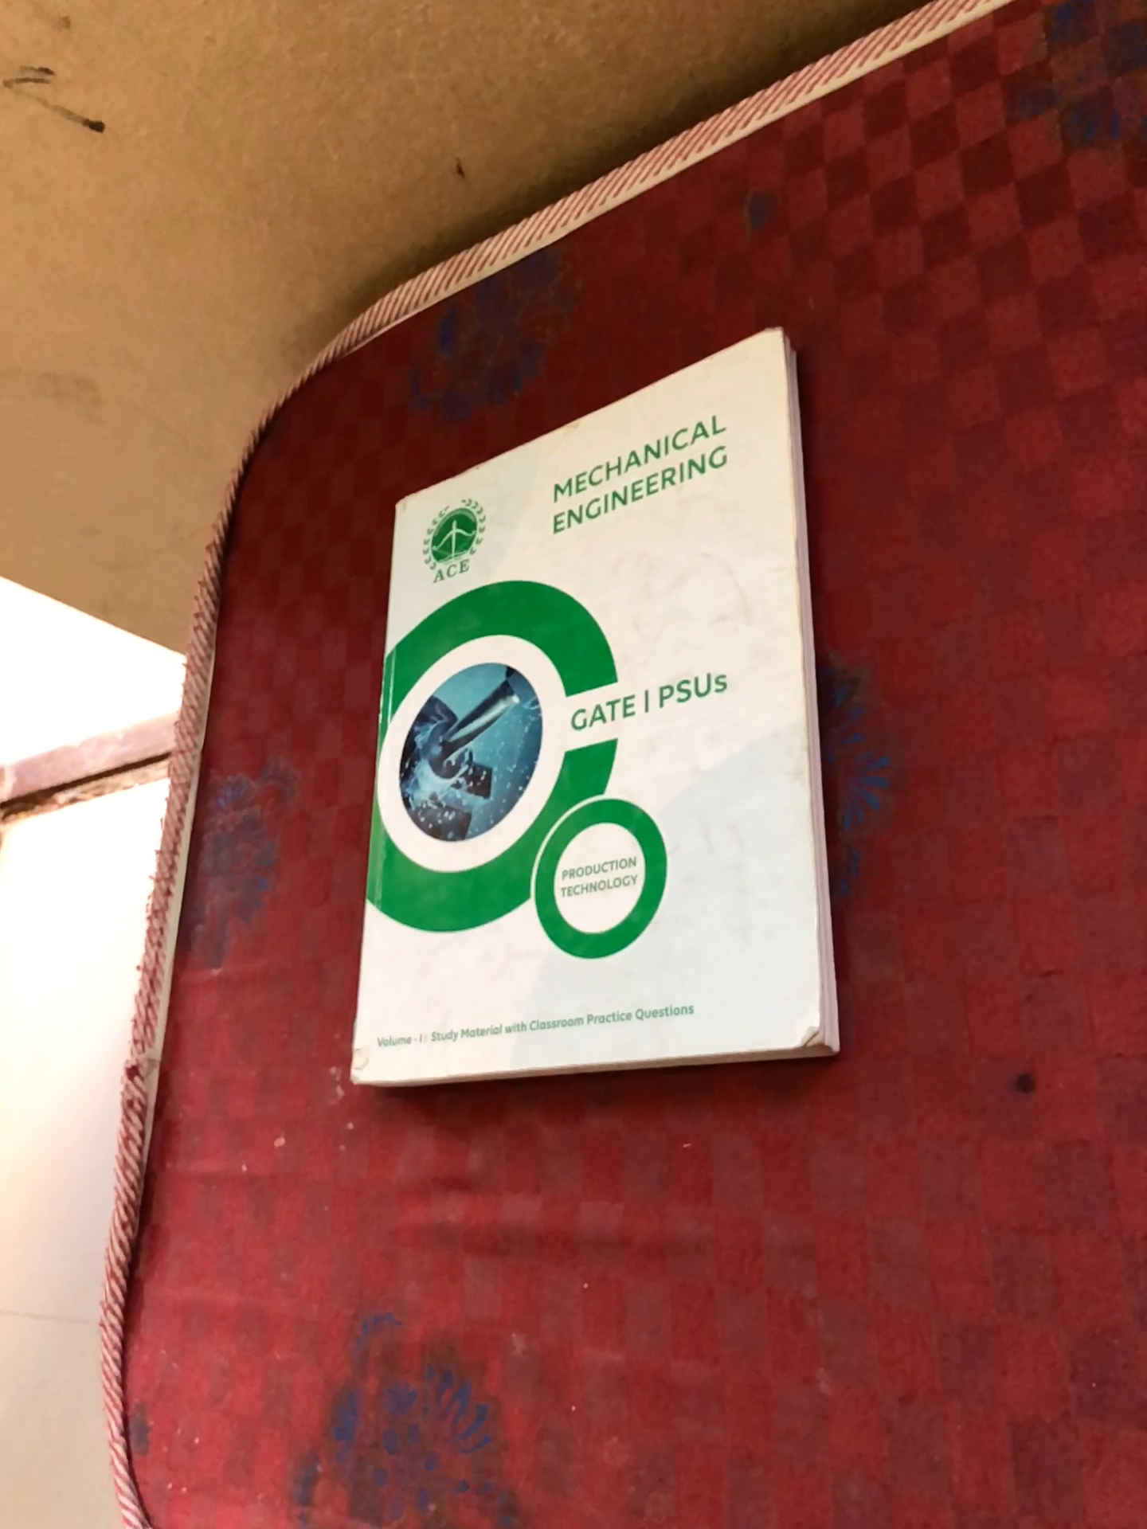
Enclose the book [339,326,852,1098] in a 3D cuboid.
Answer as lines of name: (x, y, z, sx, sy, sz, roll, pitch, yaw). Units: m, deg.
book: (0.001, -0.015, 0.518, 0.211, 0.030, 0.280, -14, 64, 35)
